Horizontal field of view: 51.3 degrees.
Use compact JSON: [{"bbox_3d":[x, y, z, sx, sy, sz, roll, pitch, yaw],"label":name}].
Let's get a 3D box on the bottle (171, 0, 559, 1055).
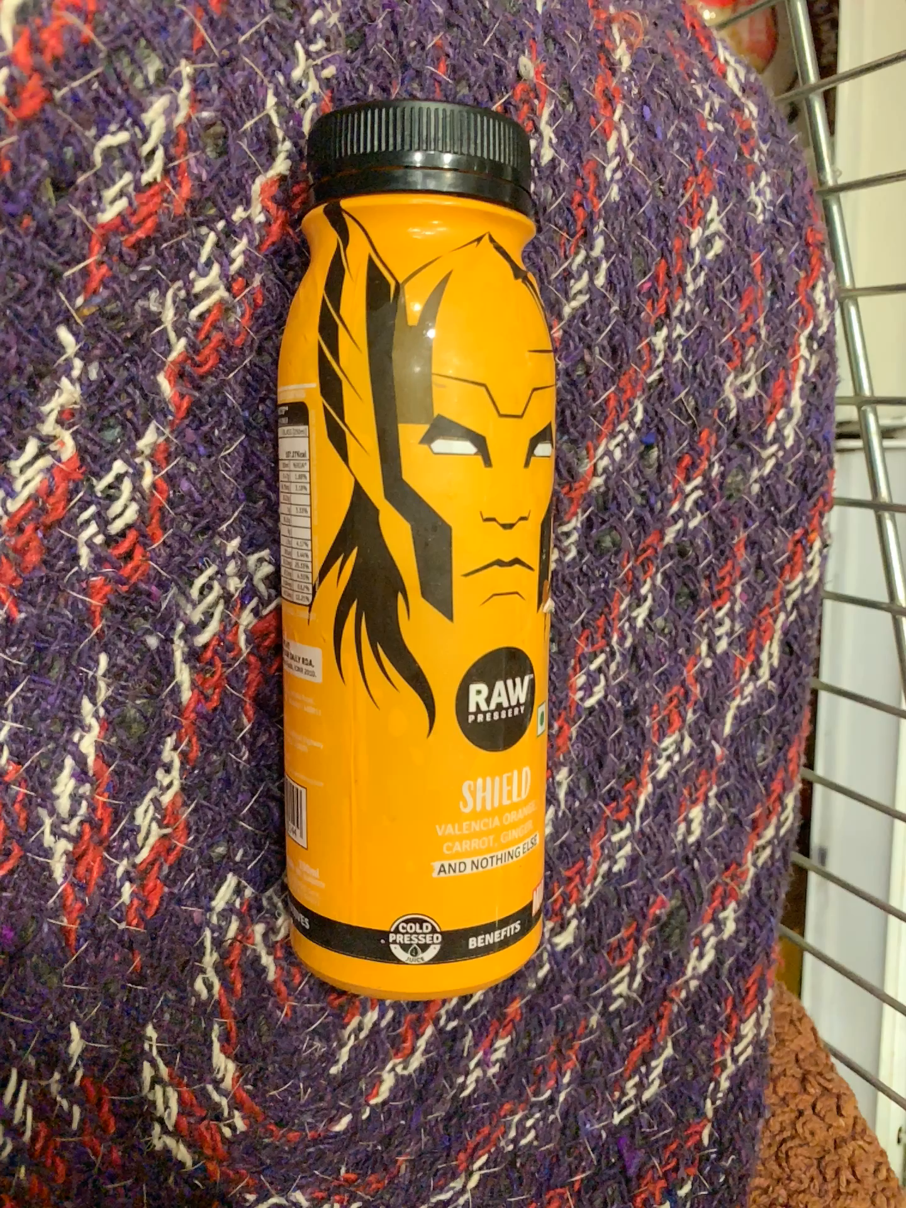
[{"bbox_3d":[-0.017,-0.012,0.174,0.050,0.050,0.160,-4,99,-32],"label":"bottle"}]
